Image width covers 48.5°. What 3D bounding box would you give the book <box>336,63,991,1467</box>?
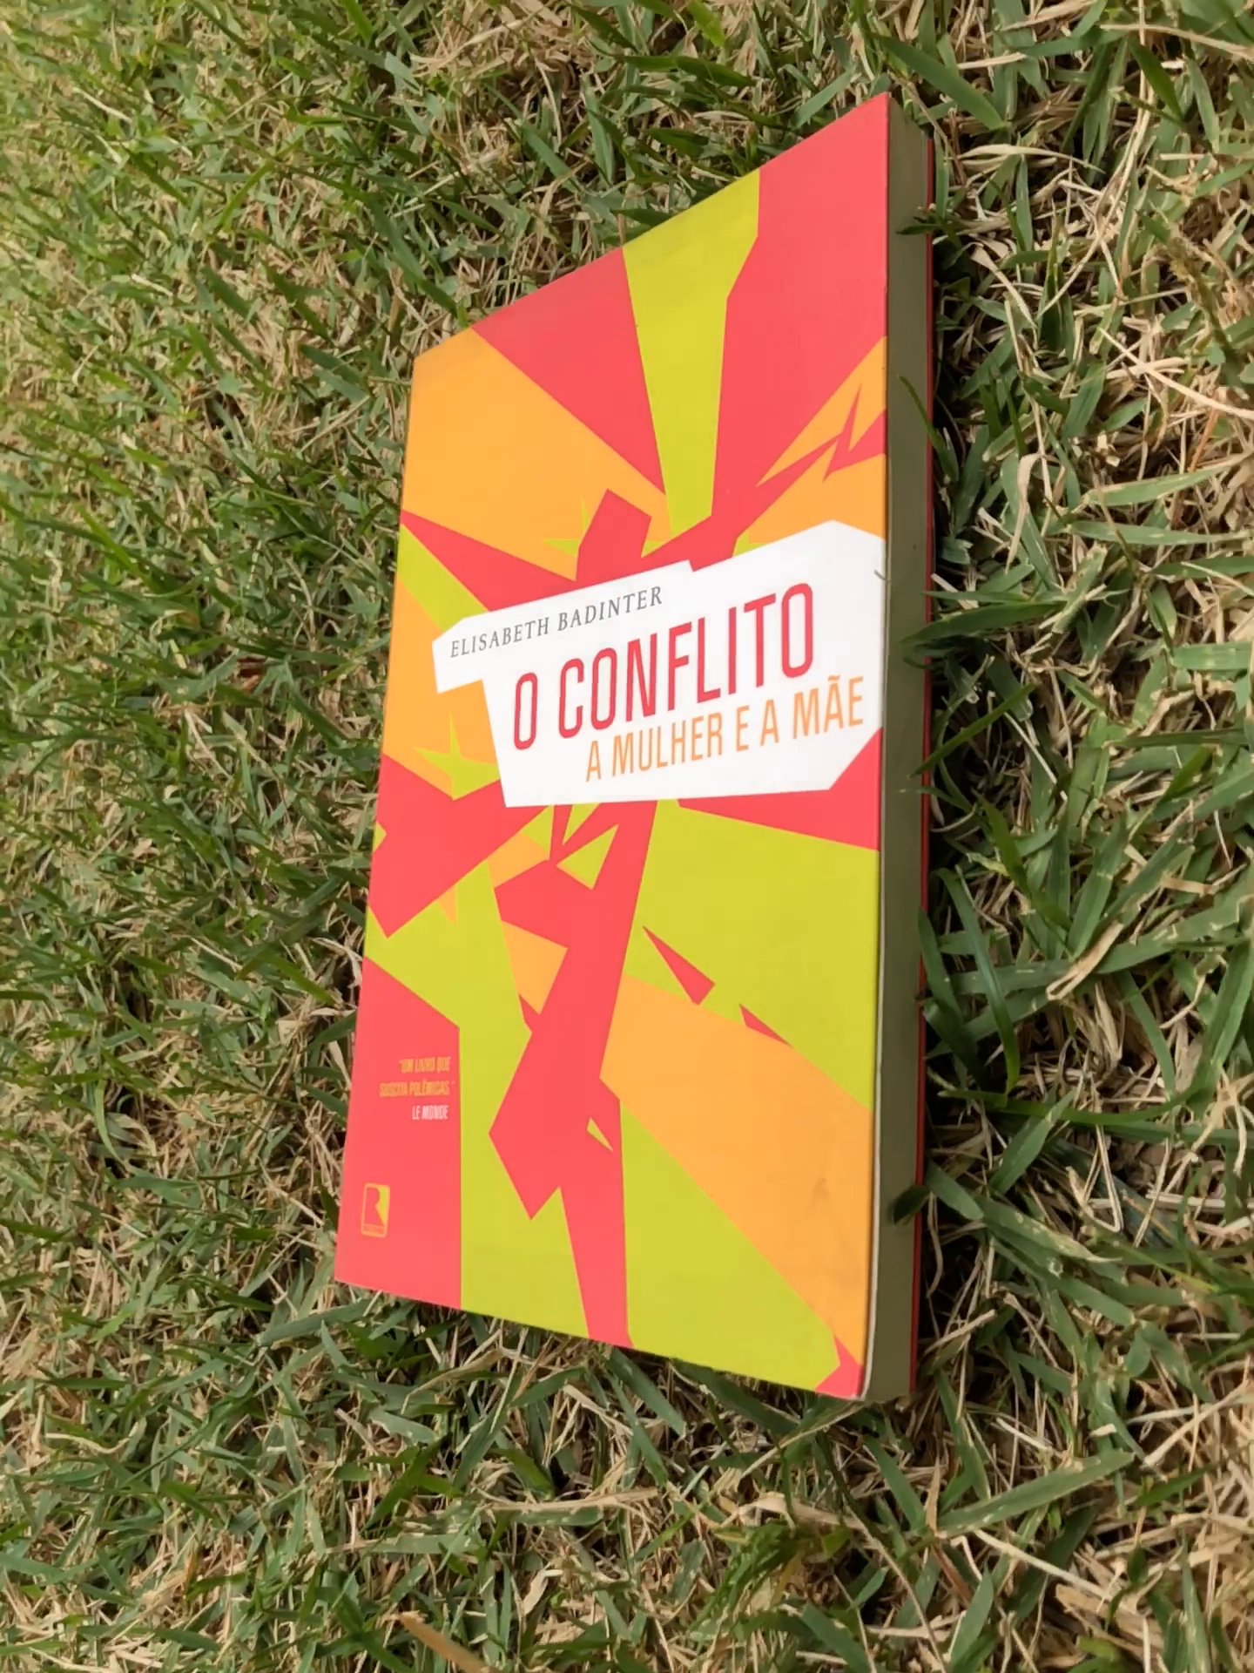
[{"bbox_3d":[0.001,-0.012,0.248,0.131,0.020,0.200,-7,75,46],"label":"book"}]
